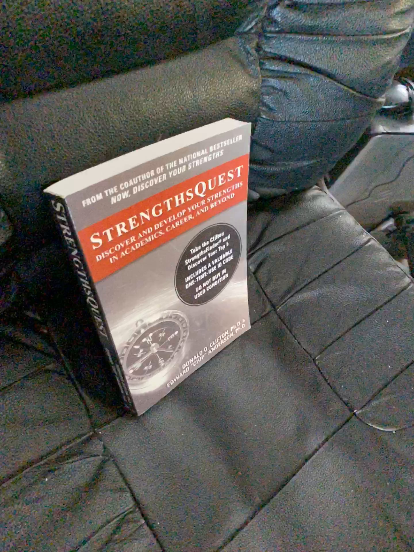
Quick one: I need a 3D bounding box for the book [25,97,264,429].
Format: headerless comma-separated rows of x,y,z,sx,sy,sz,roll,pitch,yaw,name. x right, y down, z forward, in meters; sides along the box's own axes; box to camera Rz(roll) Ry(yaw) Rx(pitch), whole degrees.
-0.022,0.001,0.354,0.170,0.239,0.030,-34,48,-27,book
